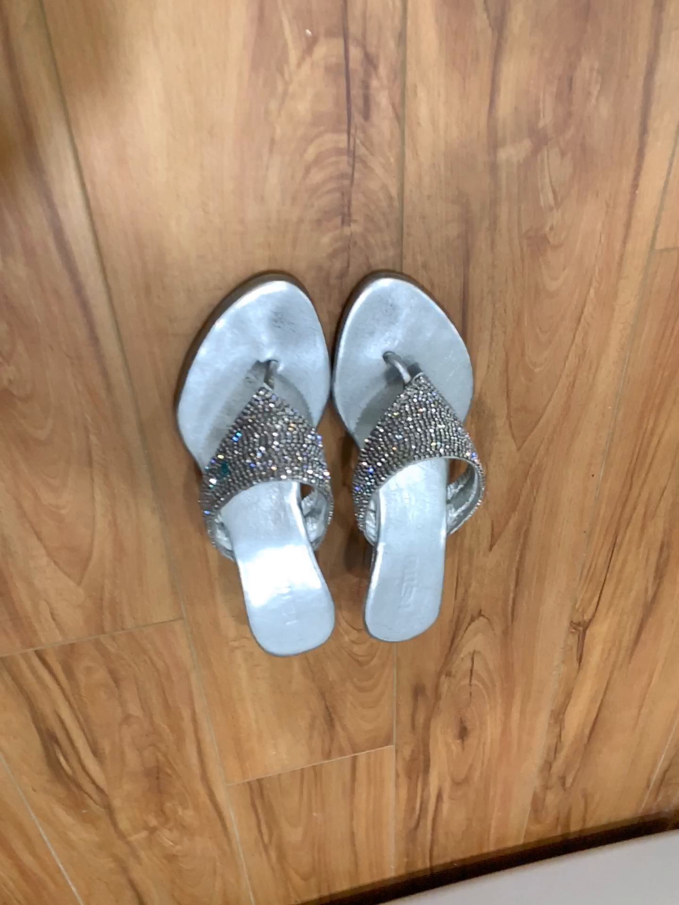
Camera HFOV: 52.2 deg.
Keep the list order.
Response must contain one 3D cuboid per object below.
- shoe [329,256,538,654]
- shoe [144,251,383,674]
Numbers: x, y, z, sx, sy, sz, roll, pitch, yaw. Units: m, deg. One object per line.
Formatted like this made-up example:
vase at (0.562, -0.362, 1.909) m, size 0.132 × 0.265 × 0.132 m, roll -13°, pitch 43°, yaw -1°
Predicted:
shoe at (0.044, 0.009, 0.415) m, size 0.085 × 0.073 × 0.228 m, roll -7°, pitch 125°, yaw -11°
shoe at (-0.036, 0.015, 0.399) m, size 0.095 × 0.073 × 0.228 m, roll -12°, pitch 126°, yaw -8°
